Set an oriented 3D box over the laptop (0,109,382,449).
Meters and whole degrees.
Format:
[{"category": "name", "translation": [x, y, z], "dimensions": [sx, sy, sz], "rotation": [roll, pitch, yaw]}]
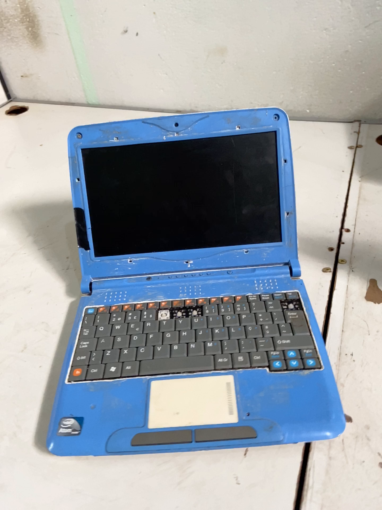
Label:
[{"category": "laptop", "translation": [-0.009, 0.000, 0.379], "dimensions": [0.240, 0.149, 0.288], "rotation": [-5, 42, 2]}]
